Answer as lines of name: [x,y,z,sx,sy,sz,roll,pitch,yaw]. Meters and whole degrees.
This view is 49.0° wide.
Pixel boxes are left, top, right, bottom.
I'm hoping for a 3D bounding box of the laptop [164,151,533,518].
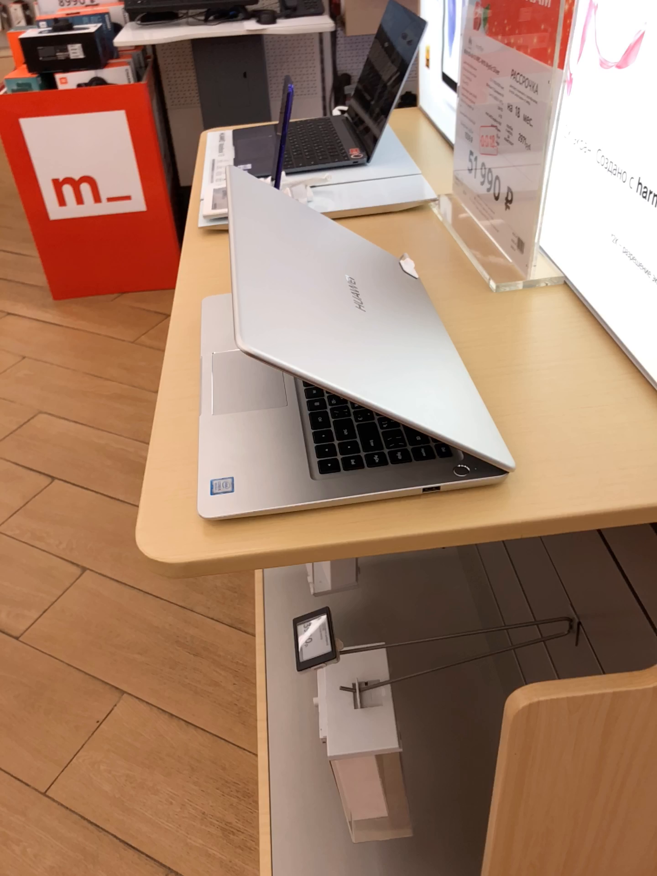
laptop: [0.000,-0.115,0.619,0.230,0.135,0.344,-7,37,-3]
